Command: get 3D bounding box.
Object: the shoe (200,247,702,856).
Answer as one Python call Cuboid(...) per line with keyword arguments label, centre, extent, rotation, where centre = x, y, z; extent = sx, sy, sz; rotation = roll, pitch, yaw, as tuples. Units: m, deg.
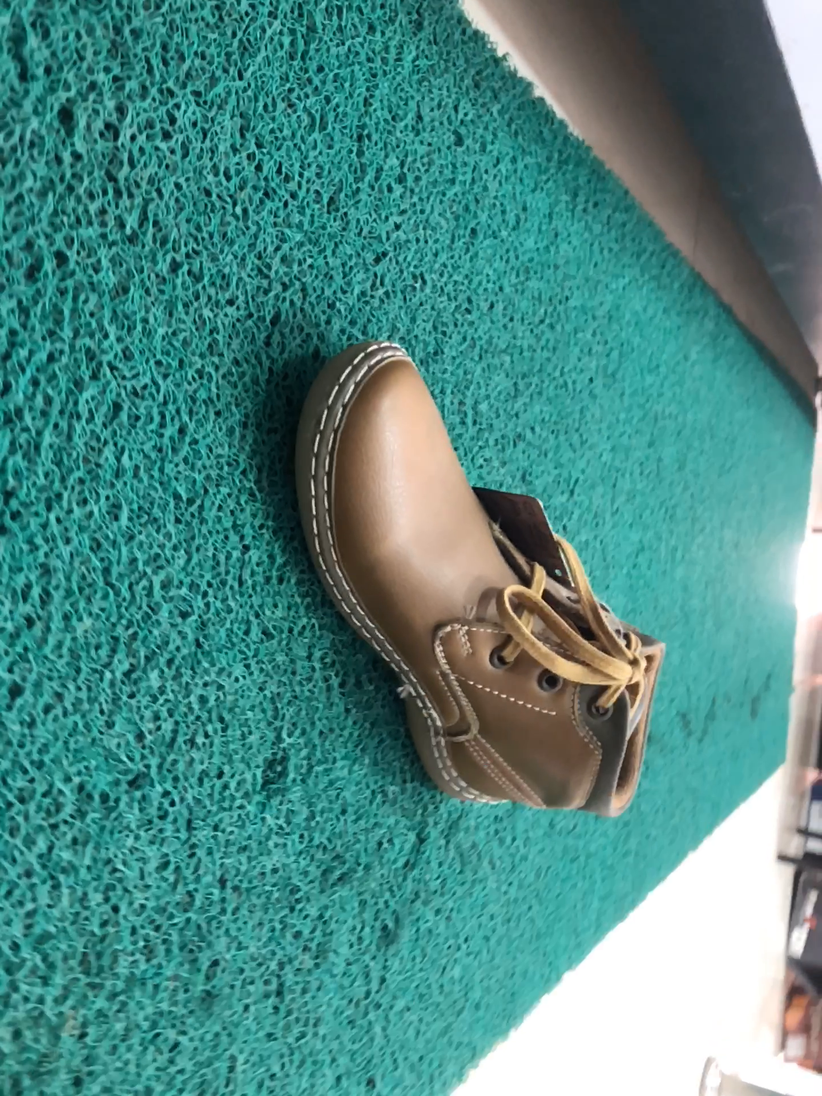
Cuboid(label="shoe", centre=(0.044, 0.019, 0.439), extent=(0.100, 0.129, 0.292), rotation=(-61, 141, -33))
